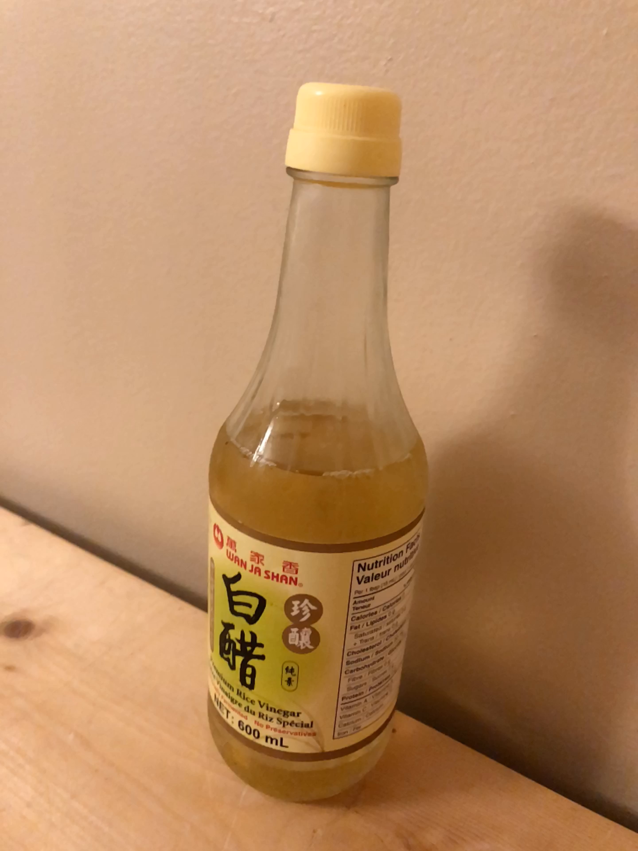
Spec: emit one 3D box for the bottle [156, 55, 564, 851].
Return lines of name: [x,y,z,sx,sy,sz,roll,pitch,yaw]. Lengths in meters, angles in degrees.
bottle: [0.006,0.015,0.238,0.080,0.239,0.080,4,23,-2]
